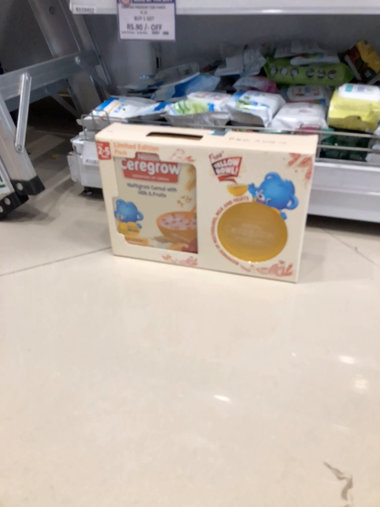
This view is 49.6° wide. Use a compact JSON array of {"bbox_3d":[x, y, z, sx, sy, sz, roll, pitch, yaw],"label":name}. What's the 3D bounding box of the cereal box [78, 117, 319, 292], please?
[{"bbox_3d":[0.011,-0.073,0.597,0.310,0.209,0.071,8,35,15],"label":"cereal box"}]
